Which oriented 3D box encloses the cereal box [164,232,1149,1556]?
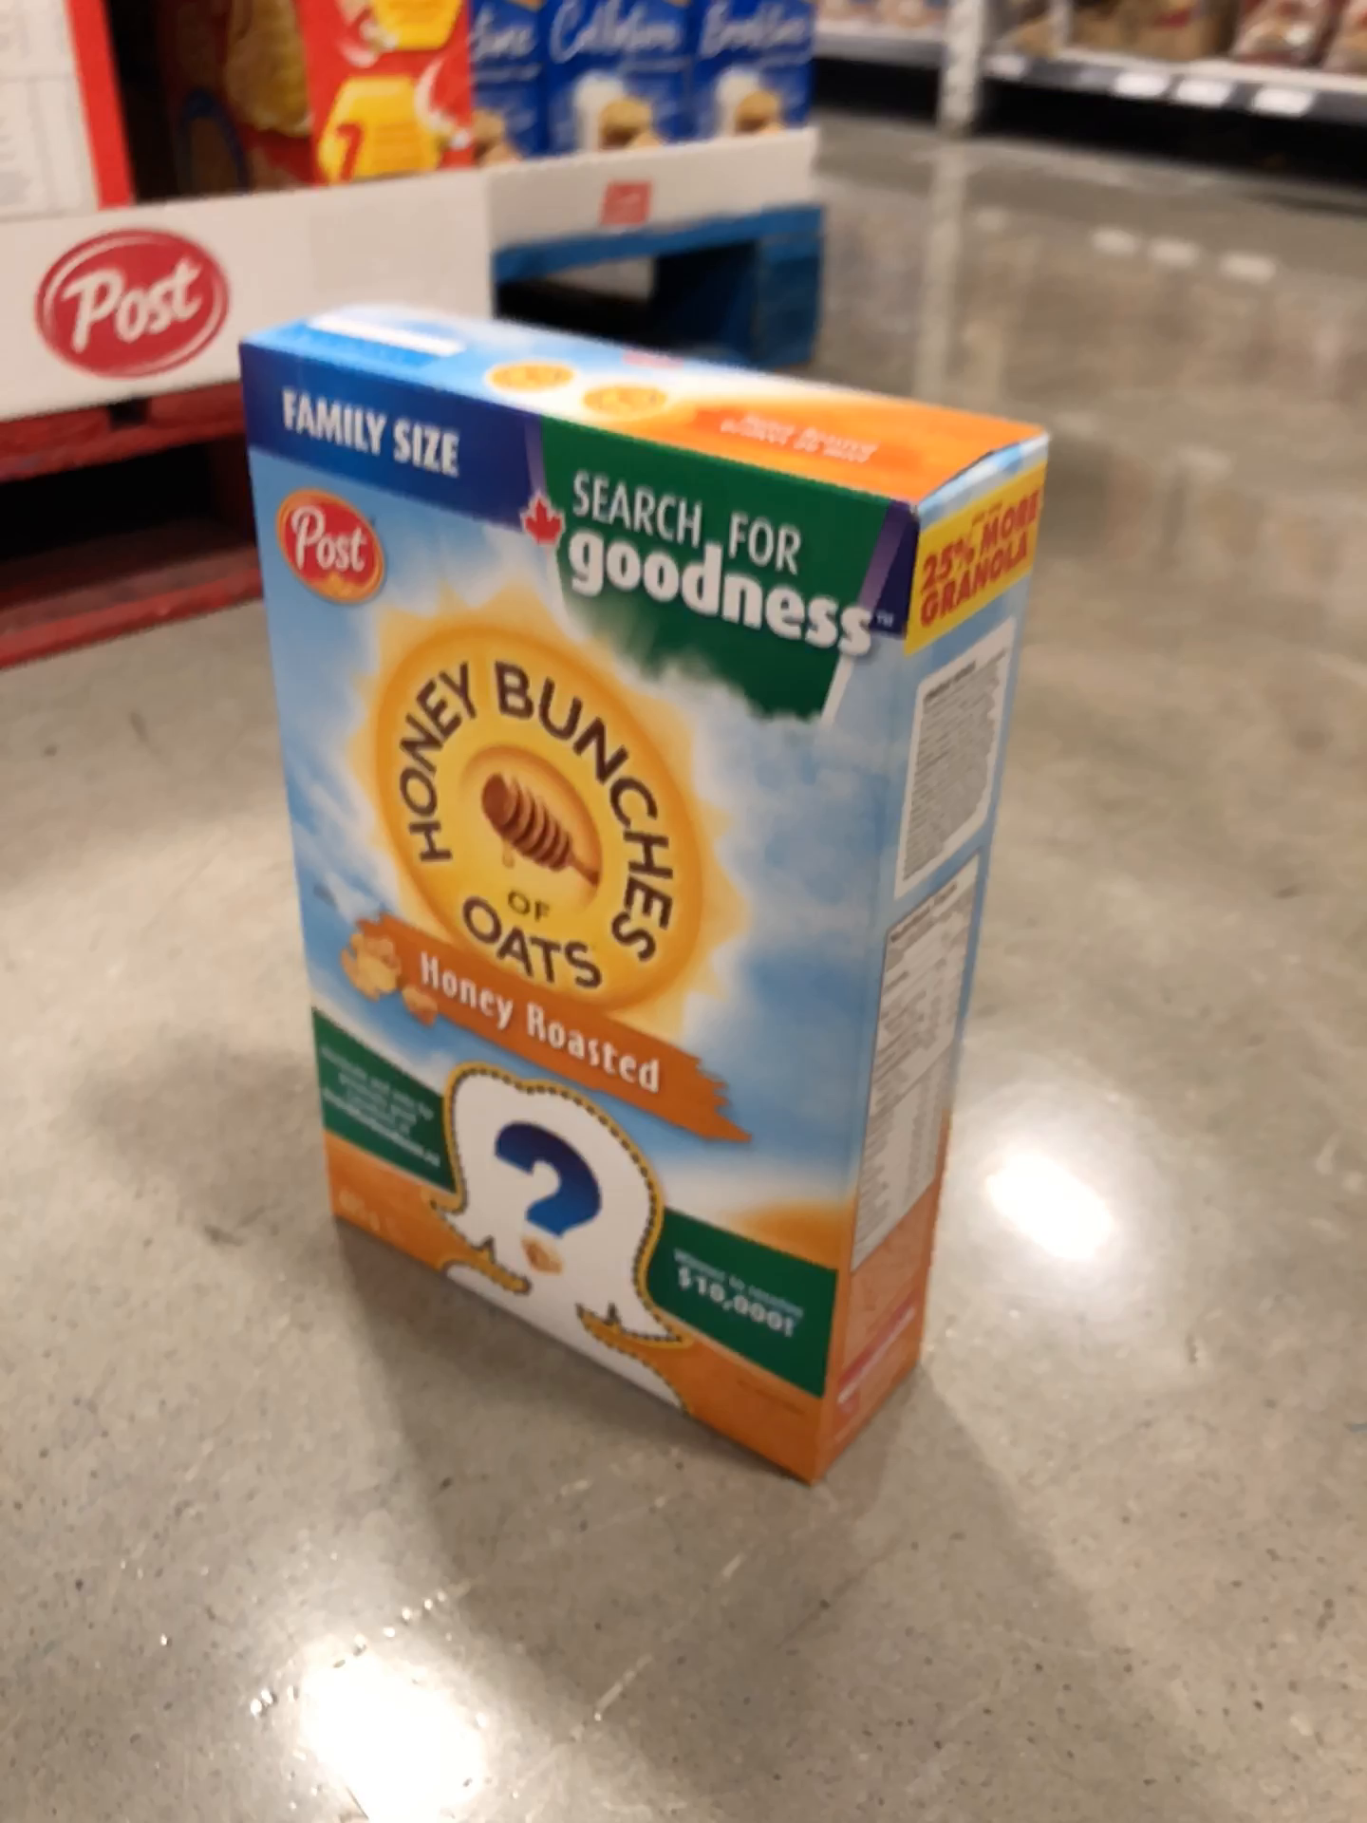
[{"bbox_3d":[-0.017,0.001,0.417,0.210,0.309,0.070,21,38,27],"label":"cereal box"}]
